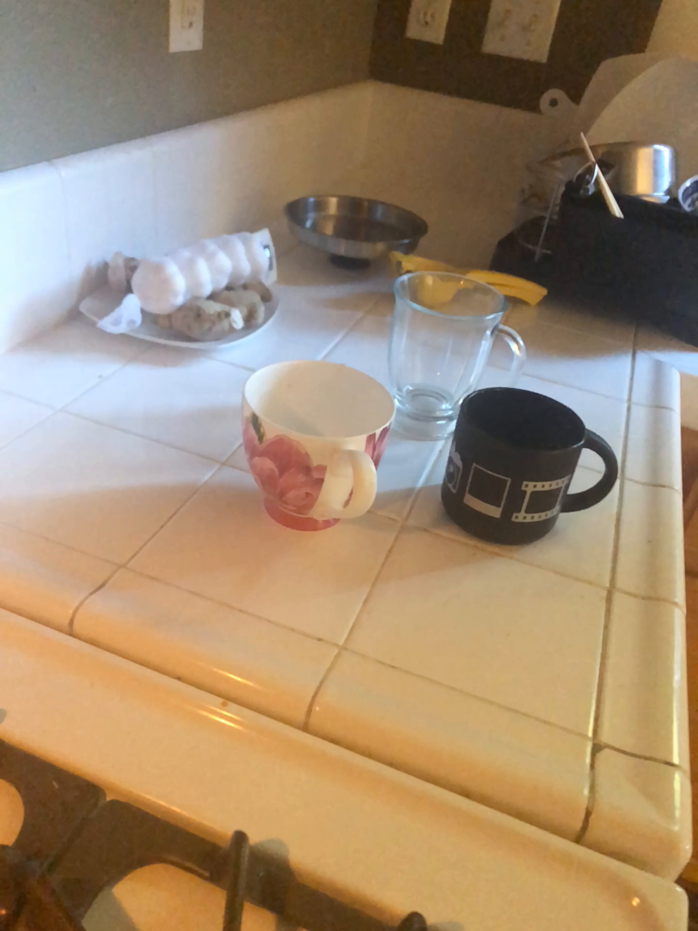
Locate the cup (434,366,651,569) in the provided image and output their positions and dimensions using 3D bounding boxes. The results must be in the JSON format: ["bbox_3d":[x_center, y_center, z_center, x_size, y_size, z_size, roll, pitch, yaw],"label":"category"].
[{"bbox_3d":[0.141,-0.001,0.587,0.130,0.089,0.101,12,35,2],"label":"cup"}]

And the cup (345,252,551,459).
[{"bbox_3d":[0.082,-0.100,0.671,0.120,0.119,0.101,34,41,30],"label":"cup"}]

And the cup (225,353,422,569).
[{"bbox_3d":[-0.026,-0.007,0.537,0.110,0.079,0.141,1,36,-13],"label":"cup"}]
